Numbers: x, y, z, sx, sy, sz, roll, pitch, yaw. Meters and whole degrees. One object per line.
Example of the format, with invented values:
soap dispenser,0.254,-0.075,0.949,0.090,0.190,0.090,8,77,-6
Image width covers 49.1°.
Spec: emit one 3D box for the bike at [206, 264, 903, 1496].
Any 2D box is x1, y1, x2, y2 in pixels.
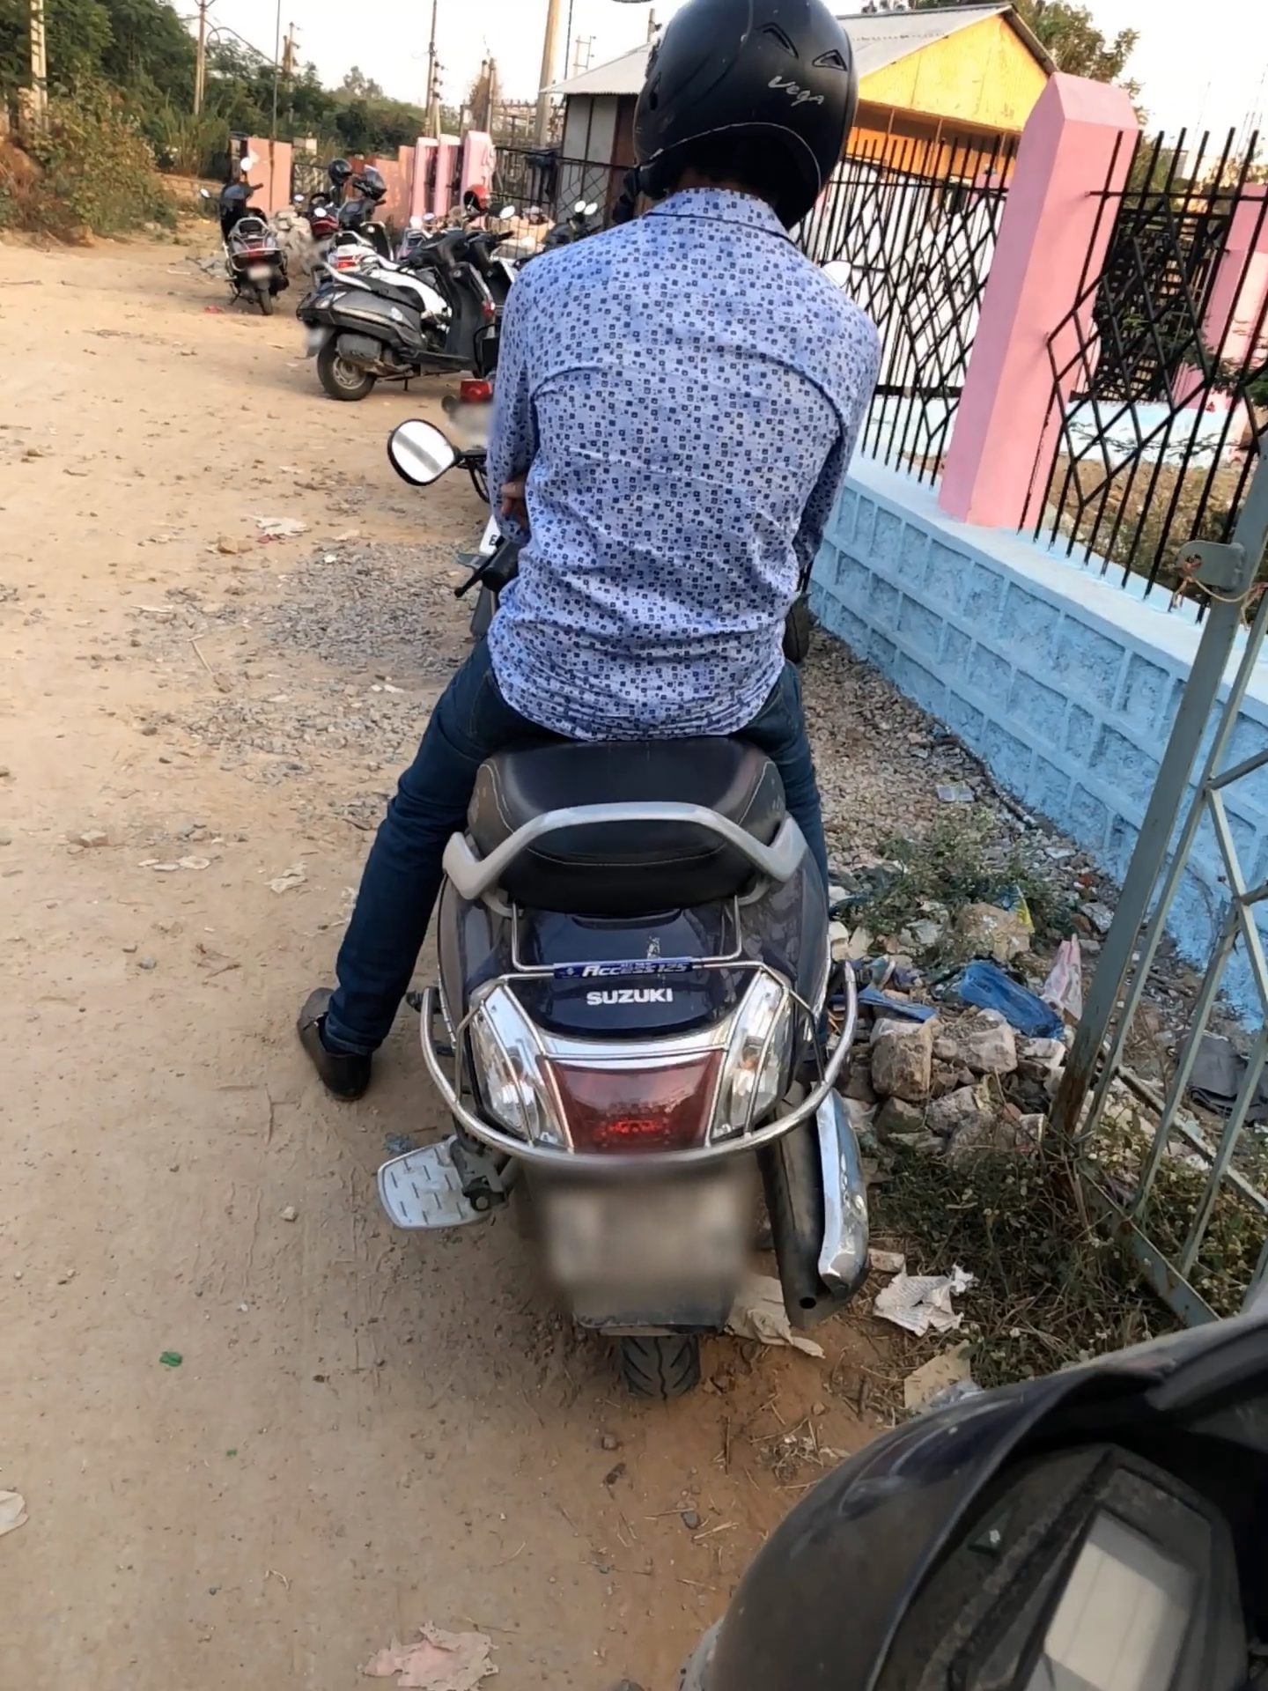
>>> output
bike,-0.275,-0.110,2.011,0.593,1.014,1.400,3,29,-13
